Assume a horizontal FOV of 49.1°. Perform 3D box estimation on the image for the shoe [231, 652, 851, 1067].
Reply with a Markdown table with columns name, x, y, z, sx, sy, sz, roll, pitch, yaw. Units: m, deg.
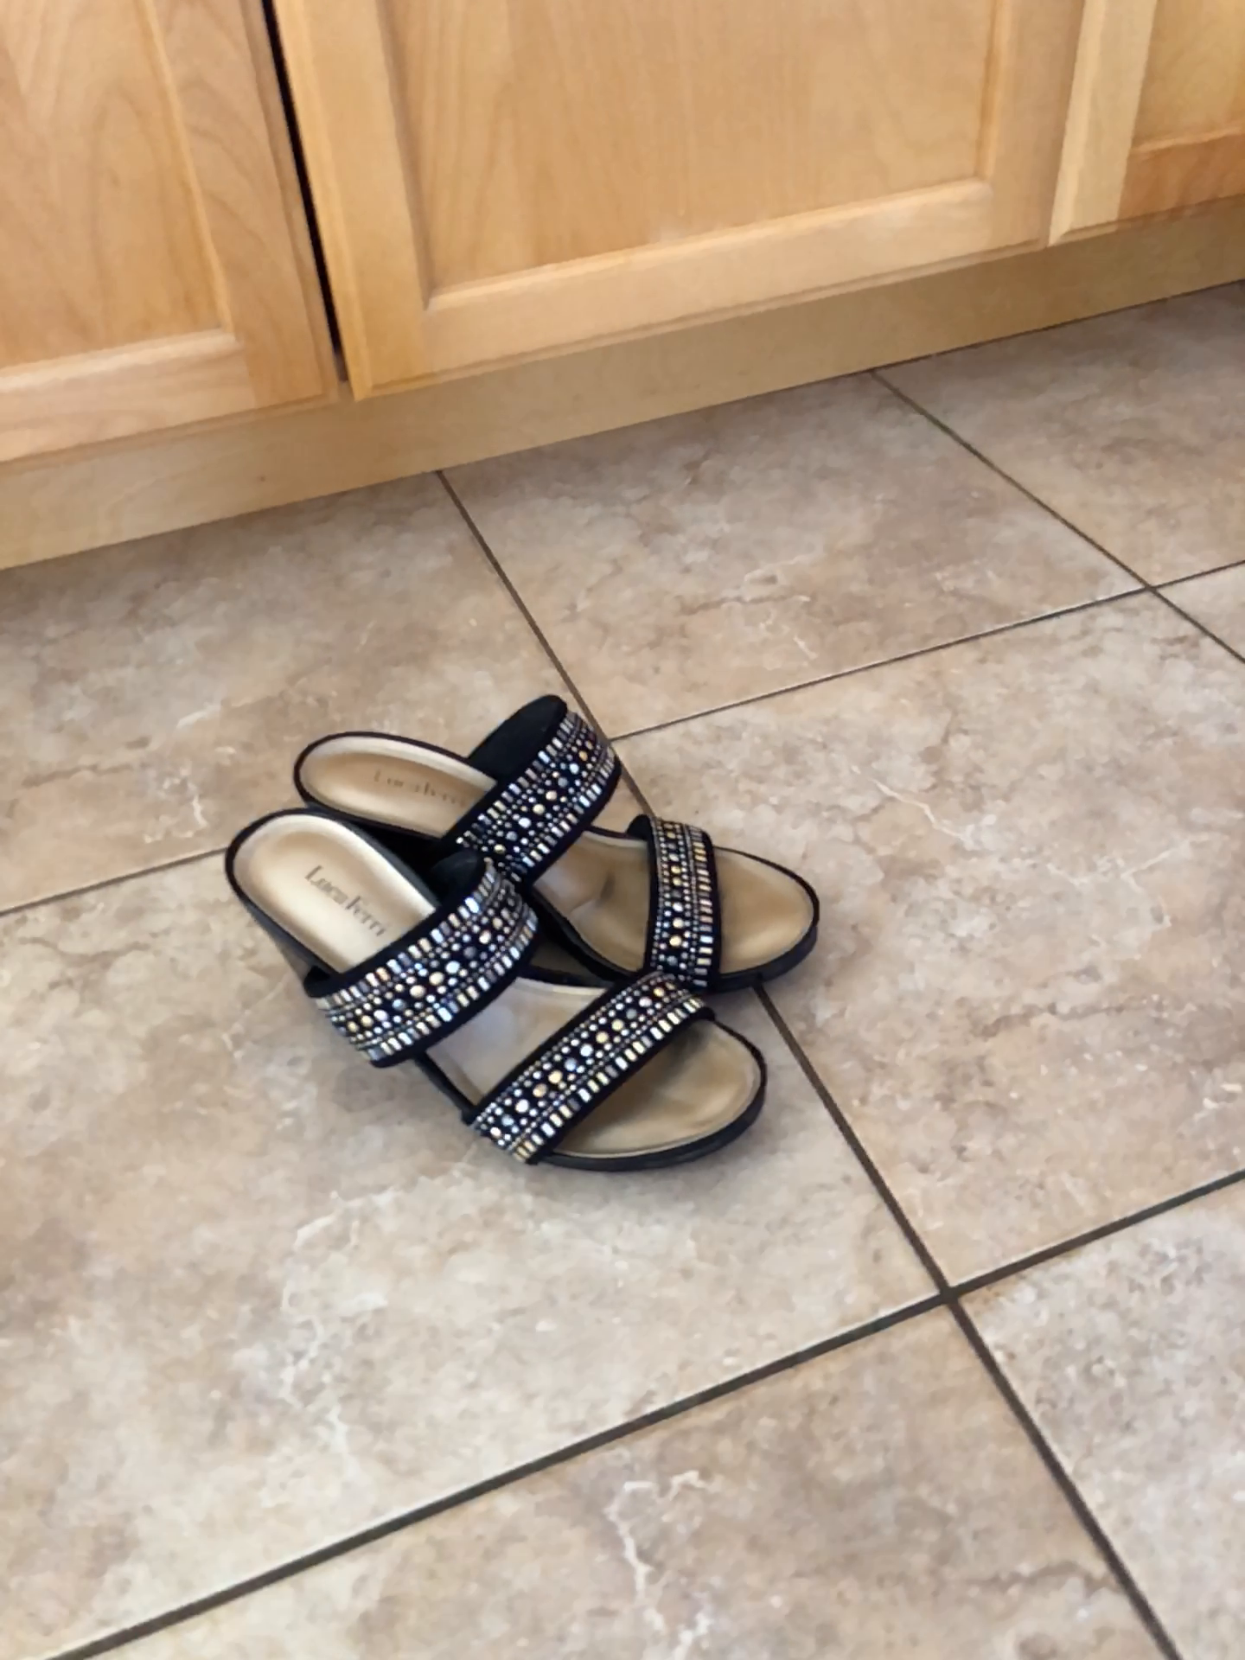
| name | x | y | z | sx | sy | sz | roll | pitch | yaw |
| --- | --- | --- | --- | --- | --- | --- | --- | --- | --- |
| shoe | -0.025 | 0.008 | 0.562 | 0.220 | 0.100 | 0.110 | 6 | 43 | 12 |

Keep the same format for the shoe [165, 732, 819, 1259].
| name | x | y | z | sx | sy | sz | roll | pitch | yaw |
| --- | --- | --- | --- | --- | --- | --- | --- | --- | --- |
| shoe | -0.047 | 0.056 | 0.519 | 0.220 | 0.100 | 0.090 | 18 | 46 | 23 |
